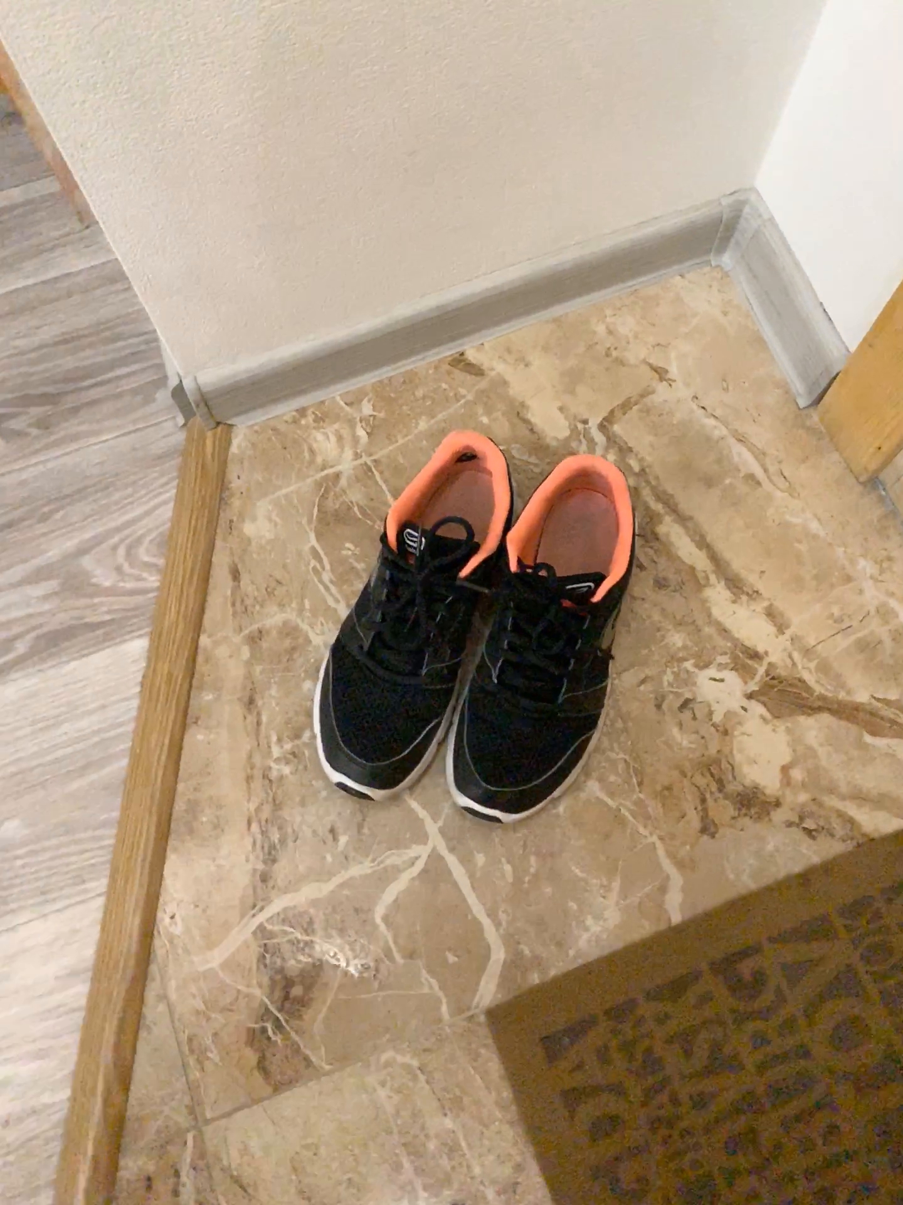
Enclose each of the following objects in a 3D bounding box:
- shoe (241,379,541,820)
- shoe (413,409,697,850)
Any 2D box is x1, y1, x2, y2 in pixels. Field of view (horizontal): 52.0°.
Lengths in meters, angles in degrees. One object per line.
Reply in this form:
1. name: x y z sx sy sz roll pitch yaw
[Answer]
1. shoe: -0.030 -0.001 0.604 0.100 0.100 0.250 18 72 7
2. shoe: 0.067 0.018 0.591 0.100 0.100 0.244 18 72 7
